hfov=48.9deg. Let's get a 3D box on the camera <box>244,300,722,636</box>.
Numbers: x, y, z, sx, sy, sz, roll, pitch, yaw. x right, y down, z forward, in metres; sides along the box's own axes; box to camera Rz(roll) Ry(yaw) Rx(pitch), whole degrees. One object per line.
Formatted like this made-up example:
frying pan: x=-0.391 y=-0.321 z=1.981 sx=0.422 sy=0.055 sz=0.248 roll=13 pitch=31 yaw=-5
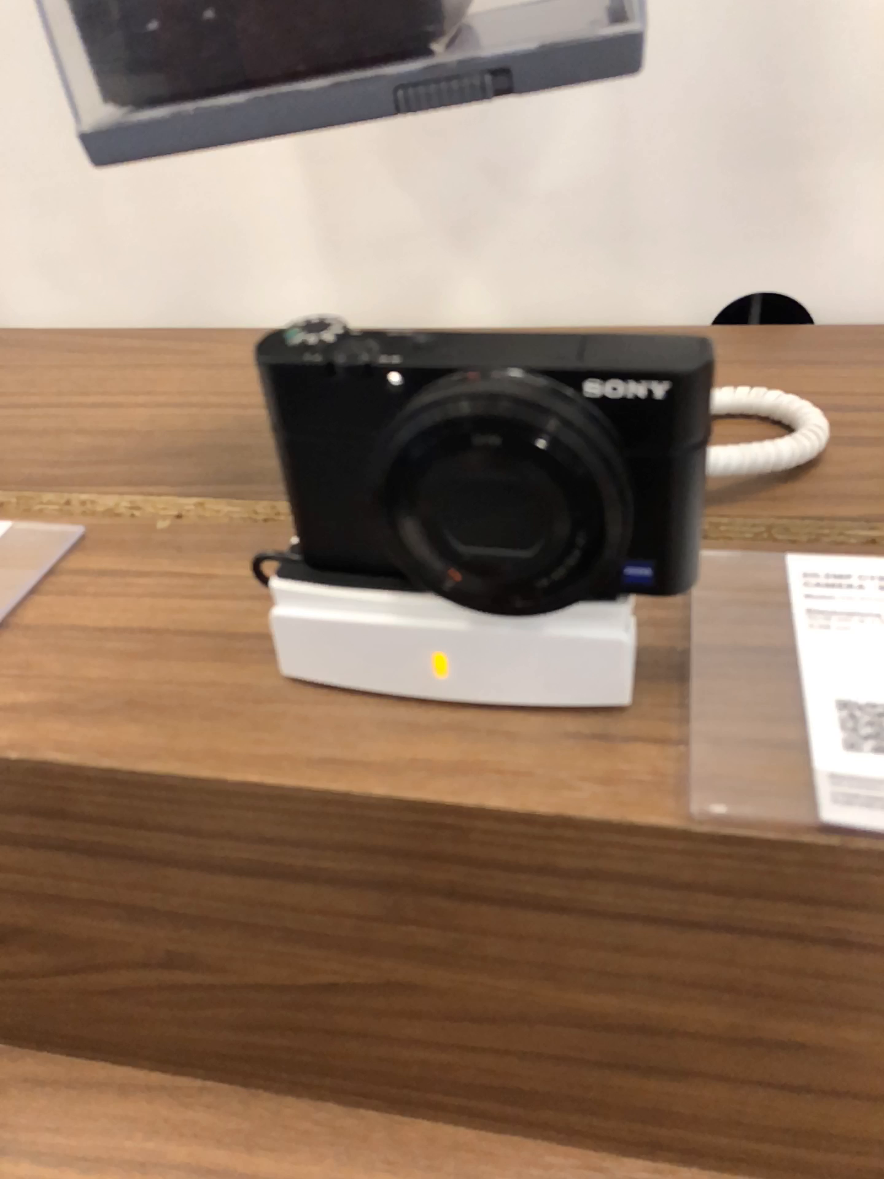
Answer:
camera: x=0.012 y=-0.029 z=0.233 sx=0.100 sy=0.070 sz=0.030 roll=4 pitch=40 yaw=15
